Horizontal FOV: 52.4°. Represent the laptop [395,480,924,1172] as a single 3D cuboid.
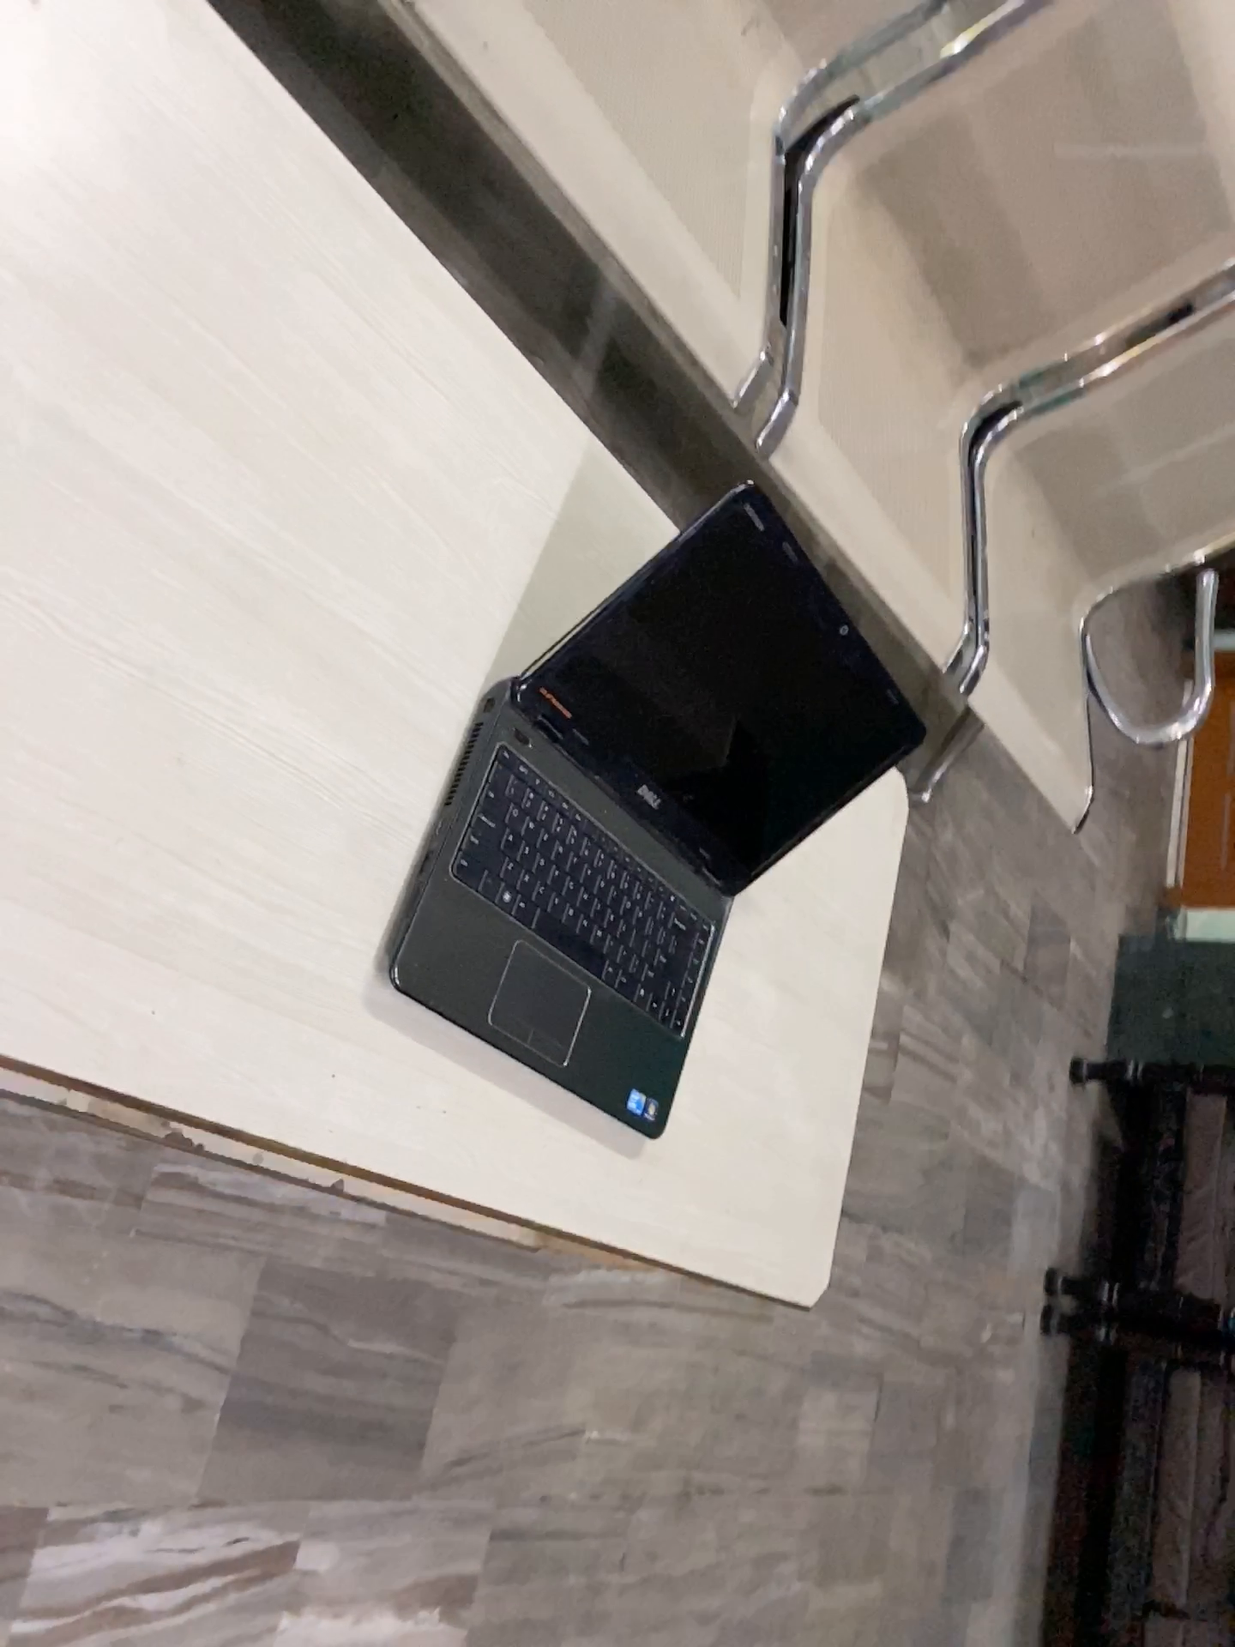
[{"bbox_3d":[0.061,0.015,0.931,0.330,0.152,0.378,41,58,-45],"label":"laptop"}]
